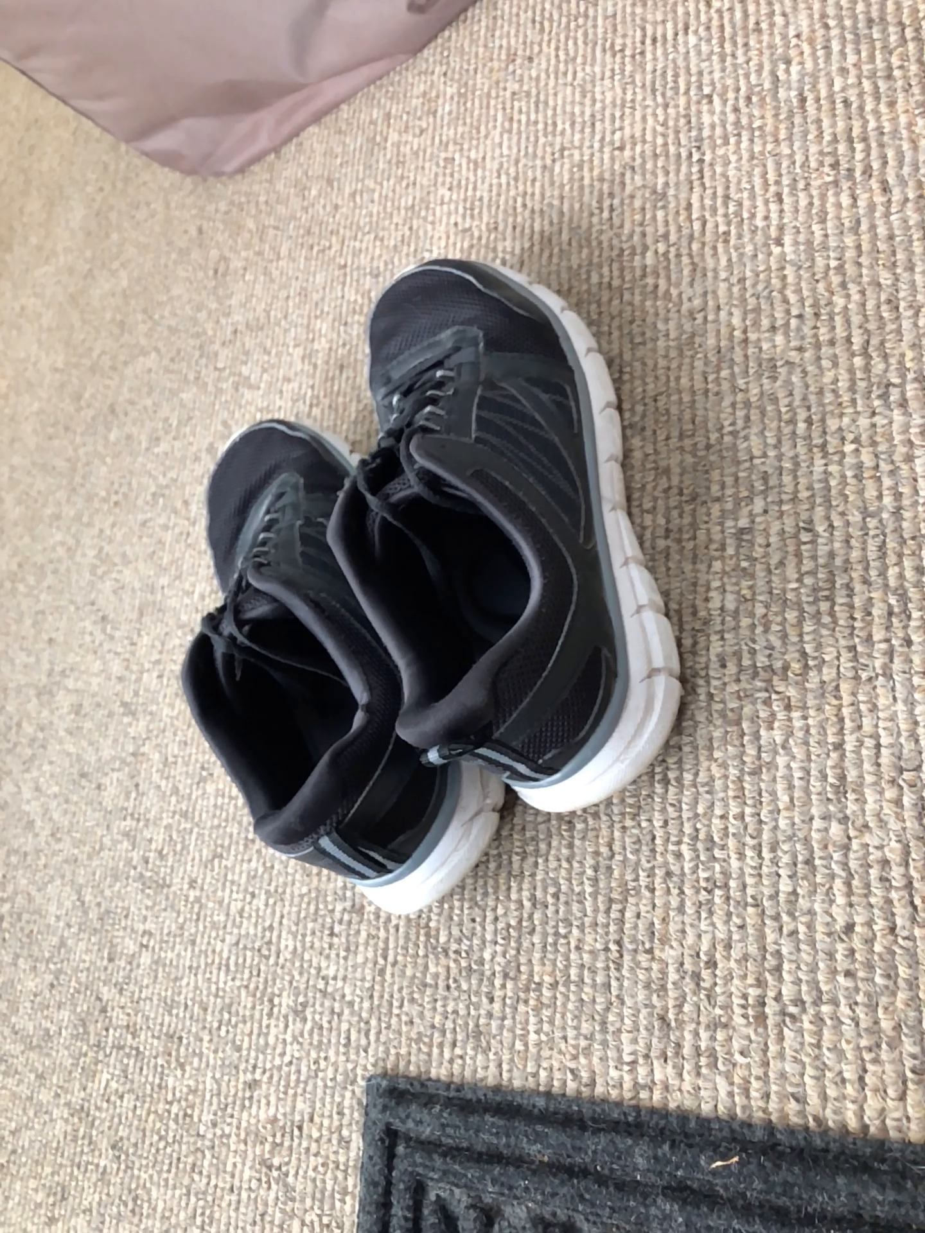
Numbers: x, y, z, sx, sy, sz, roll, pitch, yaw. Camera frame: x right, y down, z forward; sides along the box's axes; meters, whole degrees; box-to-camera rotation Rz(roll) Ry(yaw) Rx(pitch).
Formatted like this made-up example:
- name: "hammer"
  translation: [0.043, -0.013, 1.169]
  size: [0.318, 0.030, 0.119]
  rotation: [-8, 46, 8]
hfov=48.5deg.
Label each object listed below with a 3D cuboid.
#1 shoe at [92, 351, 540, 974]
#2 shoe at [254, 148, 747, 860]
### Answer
- name: "shoe"
  translation: [-0.087, 0.014, 0.502]
  size: [0.118, 0.100, 0.276]
  rotation: [-41, 49, 20]
- name: "shoe"
  translation: [0.002, -0.053, 0.455]
  size: [0.120, 0.110, 0.277]
  rotation: [-32, 53, 27]
